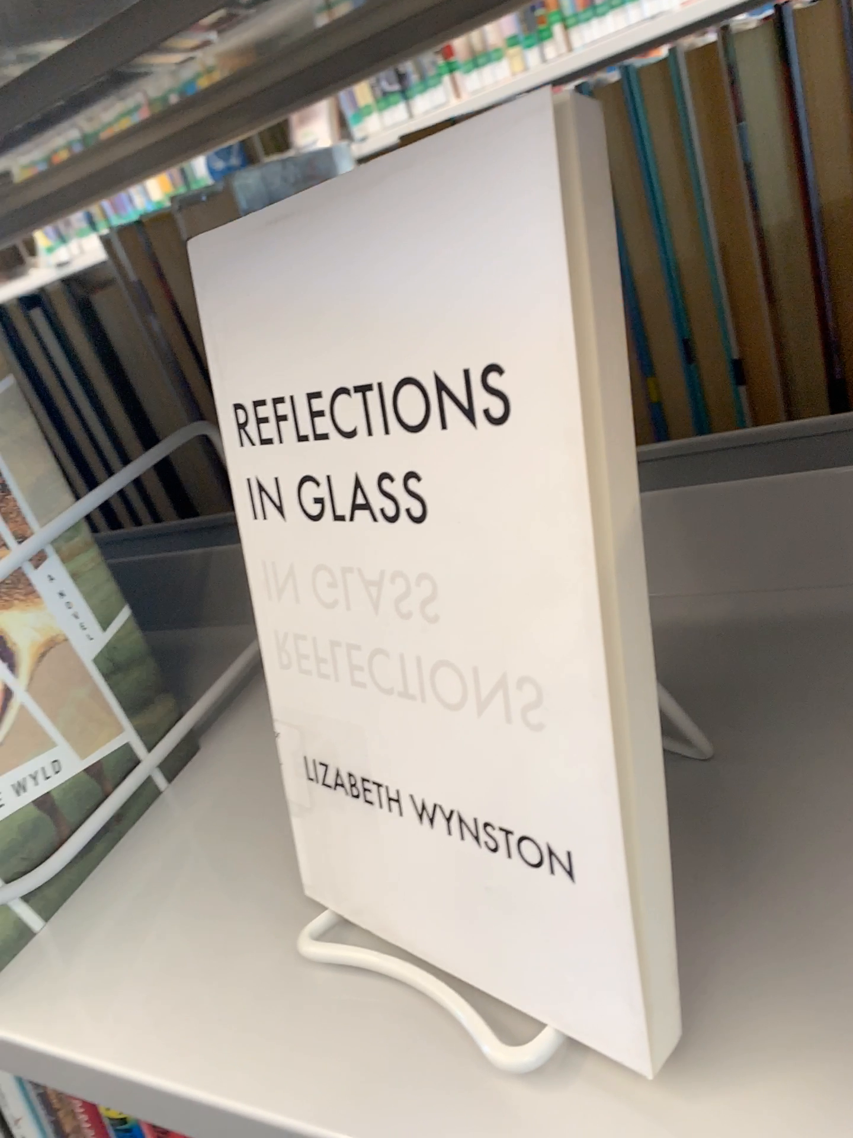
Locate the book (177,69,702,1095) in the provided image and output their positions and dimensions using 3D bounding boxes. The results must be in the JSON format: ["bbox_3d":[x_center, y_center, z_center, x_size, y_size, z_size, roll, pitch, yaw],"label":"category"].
[{"bbox_3d":[-0.003,0.008,0.216,0.018,0.196,0.128,-18,15,-42],"label":"book"}]
